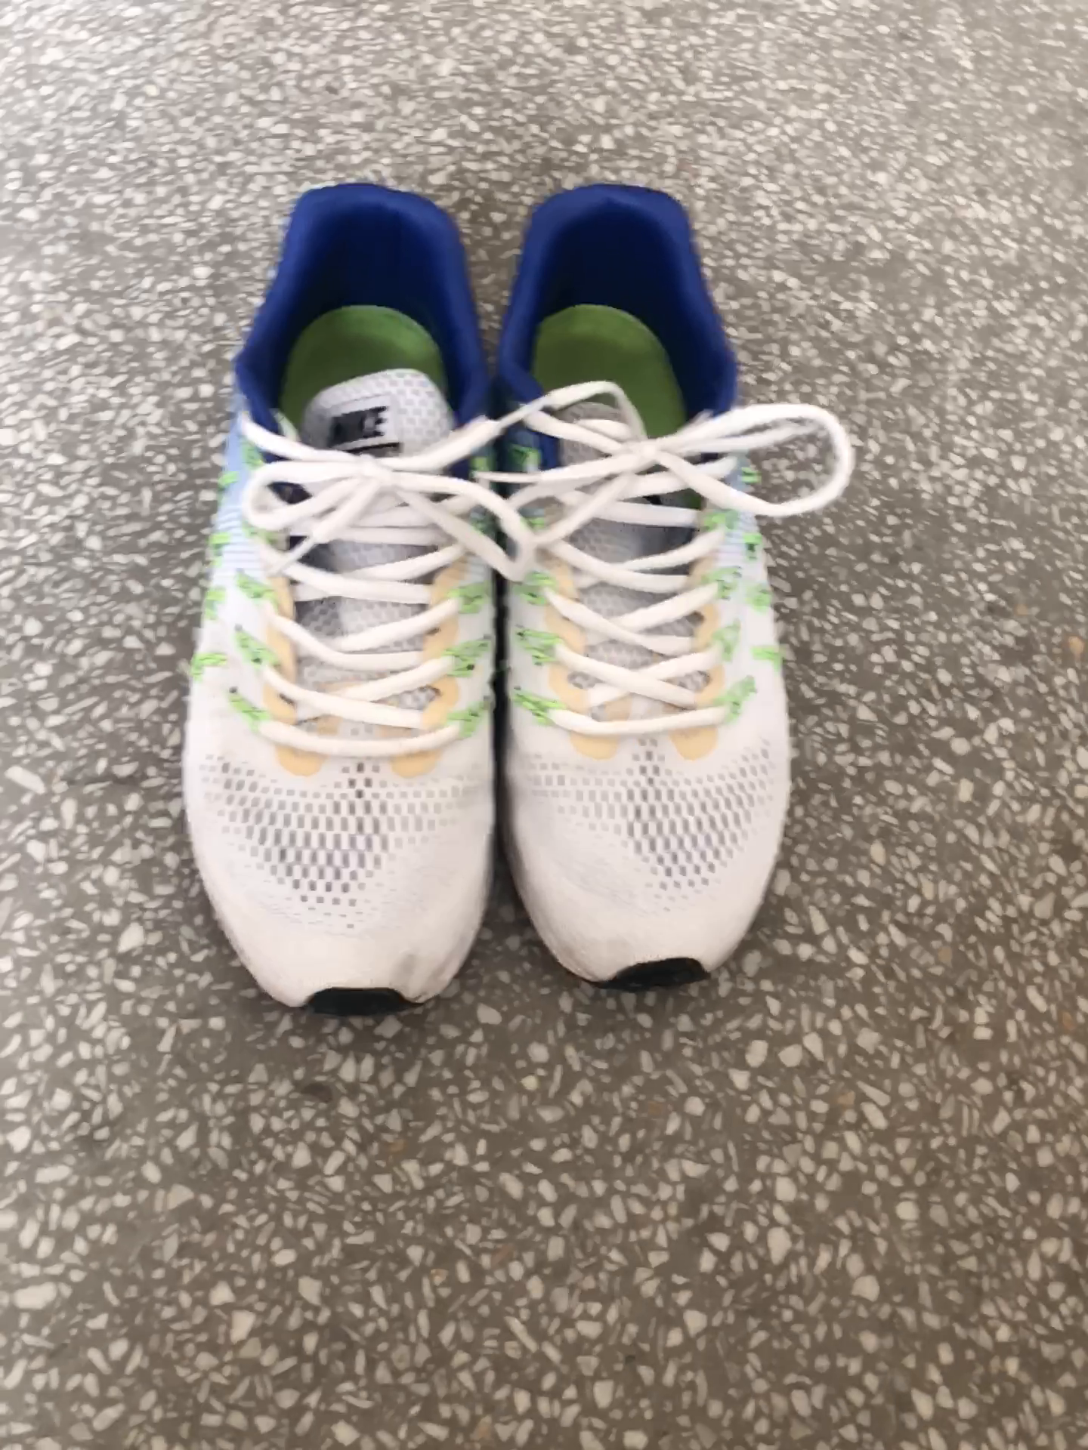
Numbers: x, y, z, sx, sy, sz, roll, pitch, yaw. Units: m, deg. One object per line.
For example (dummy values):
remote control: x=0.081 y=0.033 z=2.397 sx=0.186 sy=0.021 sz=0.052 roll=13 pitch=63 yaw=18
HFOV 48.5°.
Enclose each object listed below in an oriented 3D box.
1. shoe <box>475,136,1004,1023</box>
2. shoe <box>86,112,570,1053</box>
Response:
shoe: x=0.045 y=-0.052 z=0.411 sx=0.111 sy=0.114 sz=0.275 roll=-2 pitch=65 yaw=-8
shoe: x=-0.066 y=-0.049 z=0.394 sx=0.112 sy=0.114 sz=0.282 roll=-1 pitch=65 yaw=-8
